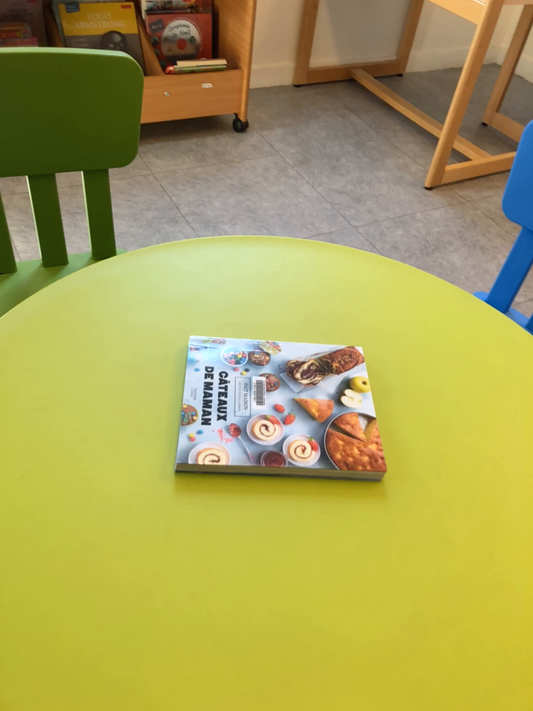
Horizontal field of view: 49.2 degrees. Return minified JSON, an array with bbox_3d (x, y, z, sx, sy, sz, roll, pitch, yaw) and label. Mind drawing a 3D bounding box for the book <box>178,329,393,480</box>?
[{"bbox_3d":[0.019,0.051,0.689,0.228,0.021,0.201,3,45,-6],"label":"book"}]
